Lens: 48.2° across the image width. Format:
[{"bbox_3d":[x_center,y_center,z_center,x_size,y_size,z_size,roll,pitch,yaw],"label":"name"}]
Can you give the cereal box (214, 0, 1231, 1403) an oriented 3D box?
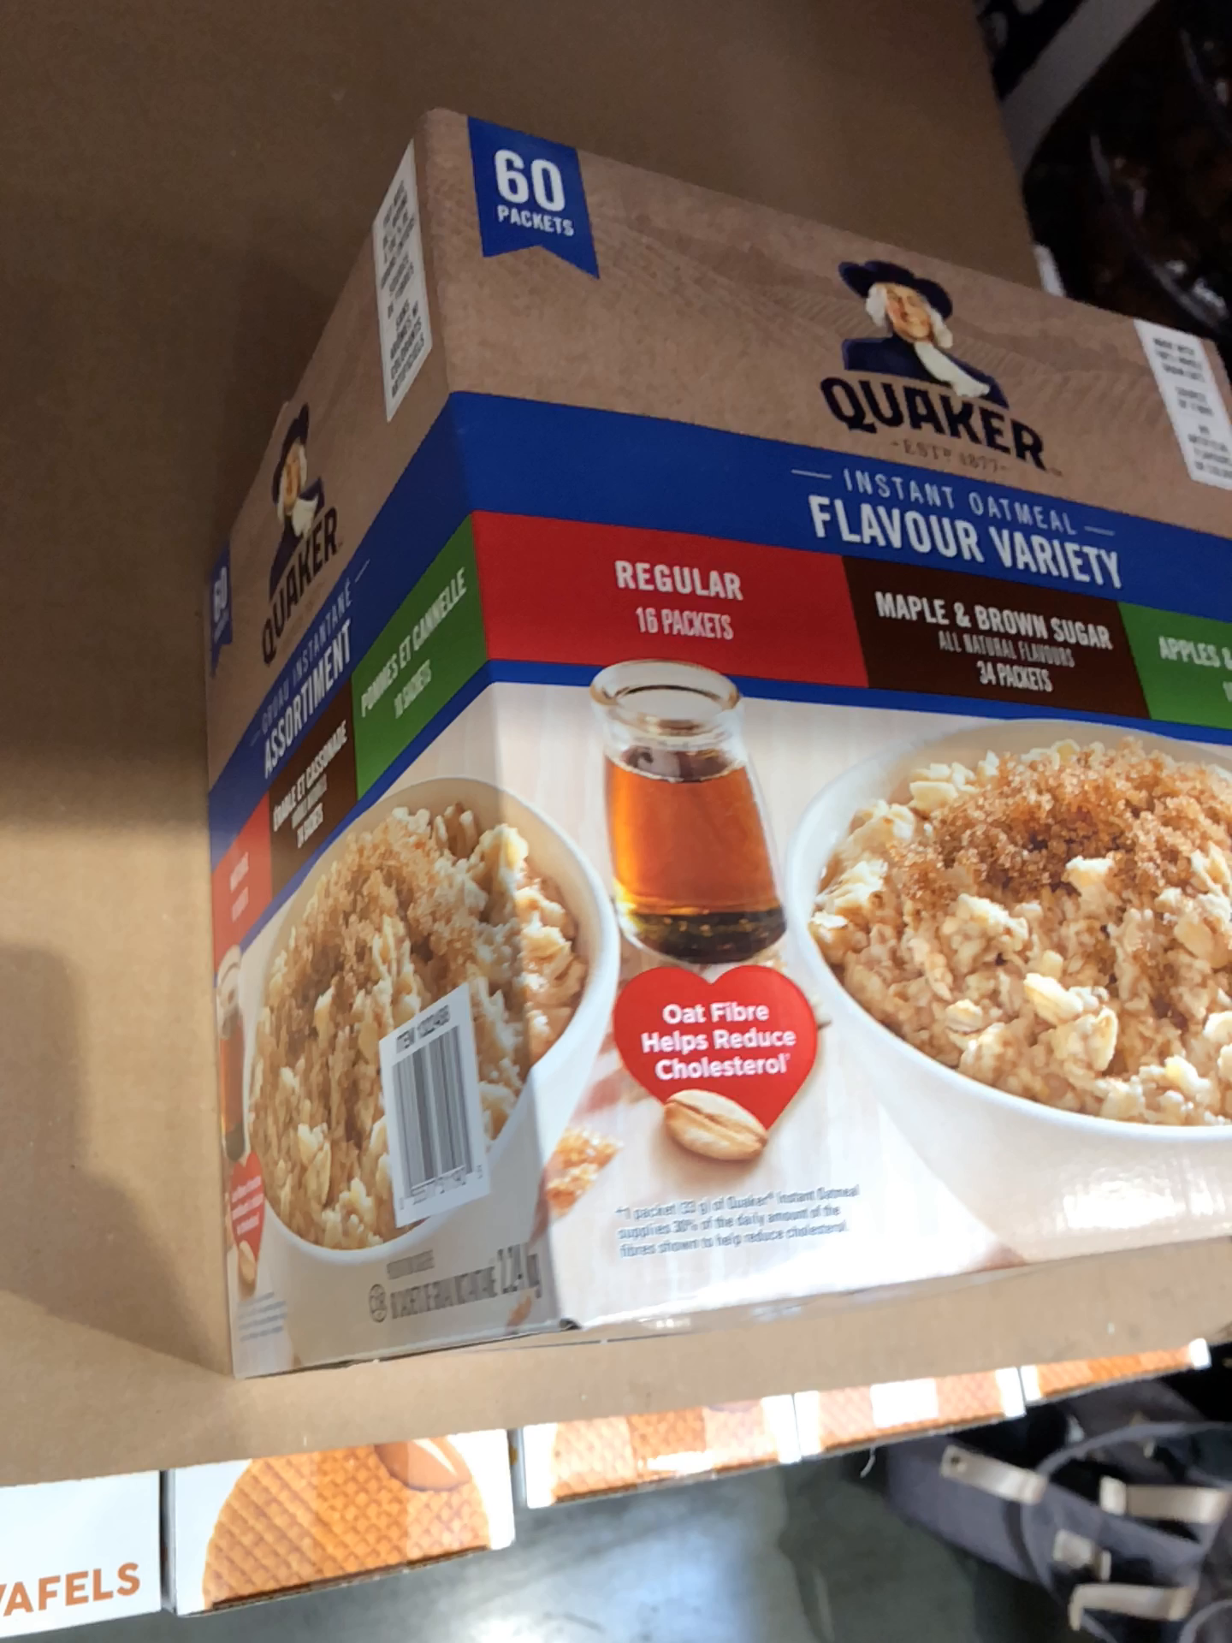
[{"bbox_3d":[0.040,-0.005,0.371,0.241,0.199,0.260,3,66,-28],"label":"cereal box"}]
